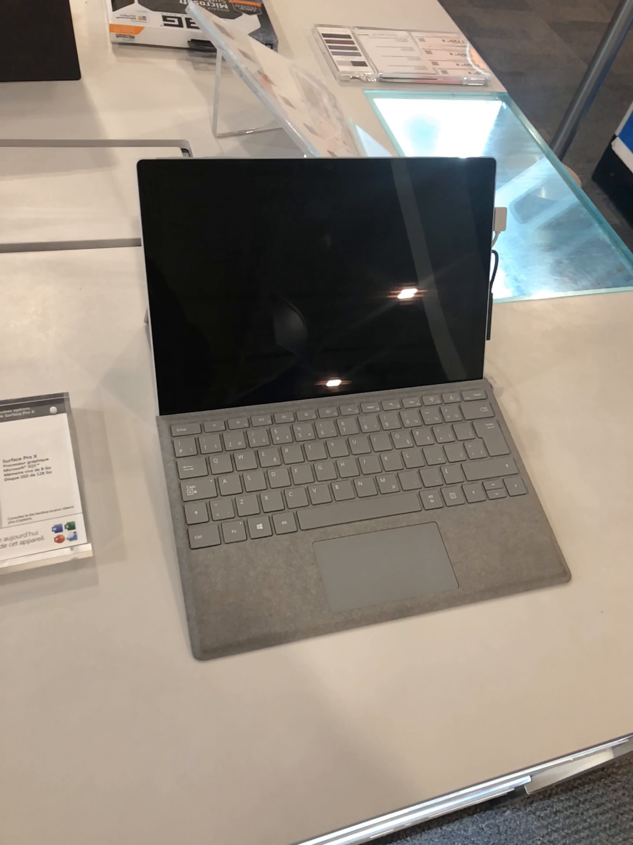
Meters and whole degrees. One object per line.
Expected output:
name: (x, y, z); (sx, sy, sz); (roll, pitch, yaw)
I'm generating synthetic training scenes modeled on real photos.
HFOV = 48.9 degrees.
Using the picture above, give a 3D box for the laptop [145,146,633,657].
laptop: (0.036, -0.036, 0.505); (0.279, 0.147, 0.298); (-7, 59, -17)
